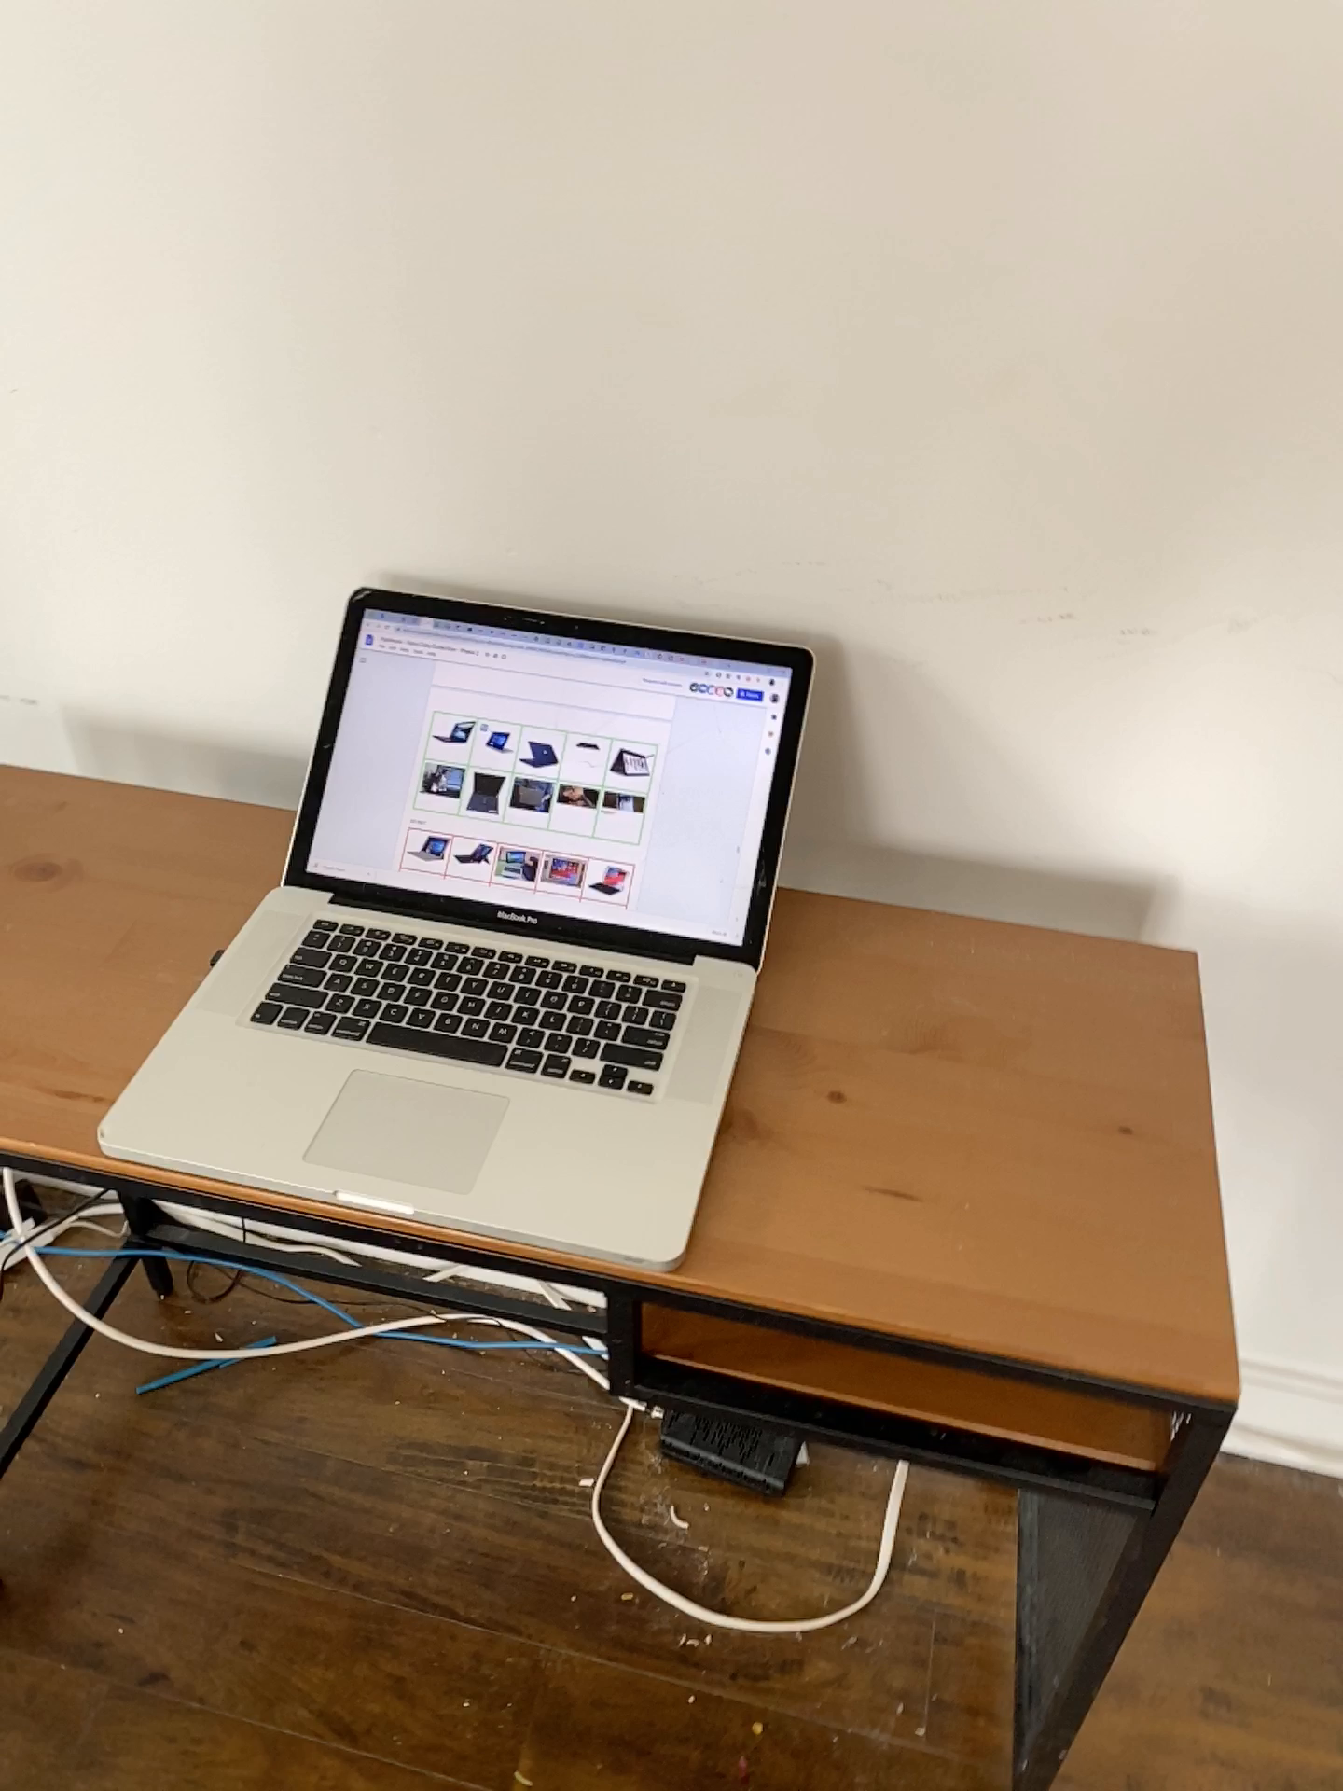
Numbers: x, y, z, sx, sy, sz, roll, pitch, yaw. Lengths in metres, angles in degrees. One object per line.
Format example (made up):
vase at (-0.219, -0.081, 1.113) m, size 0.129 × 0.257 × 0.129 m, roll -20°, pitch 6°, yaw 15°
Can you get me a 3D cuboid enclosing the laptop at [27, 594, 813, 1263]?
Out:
laptop at (-0.125, -0.013, 0.933) m, size 0.367 × 0.151 × 0.441 m, roll 9°, pitch 41°, yaw 10°
